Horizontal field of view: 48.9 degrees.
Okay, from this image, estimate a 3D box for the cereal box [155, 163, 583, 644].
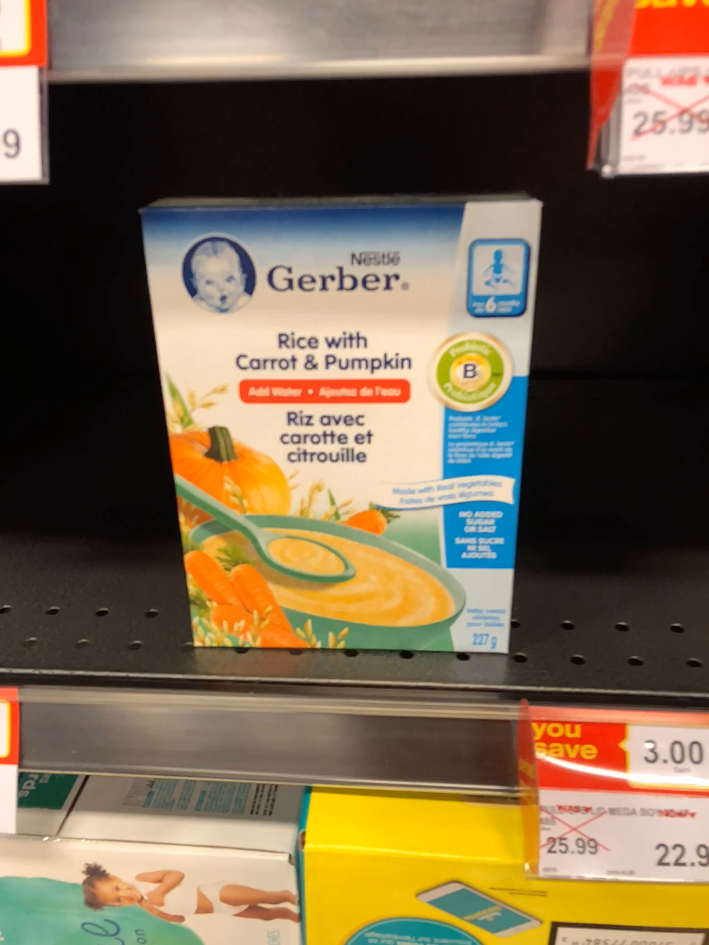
[{"bbox_3d":[0.007,-0.022,0.333,0.150,0.199,0.040,0,24,4],"label":"cereal box"}]
